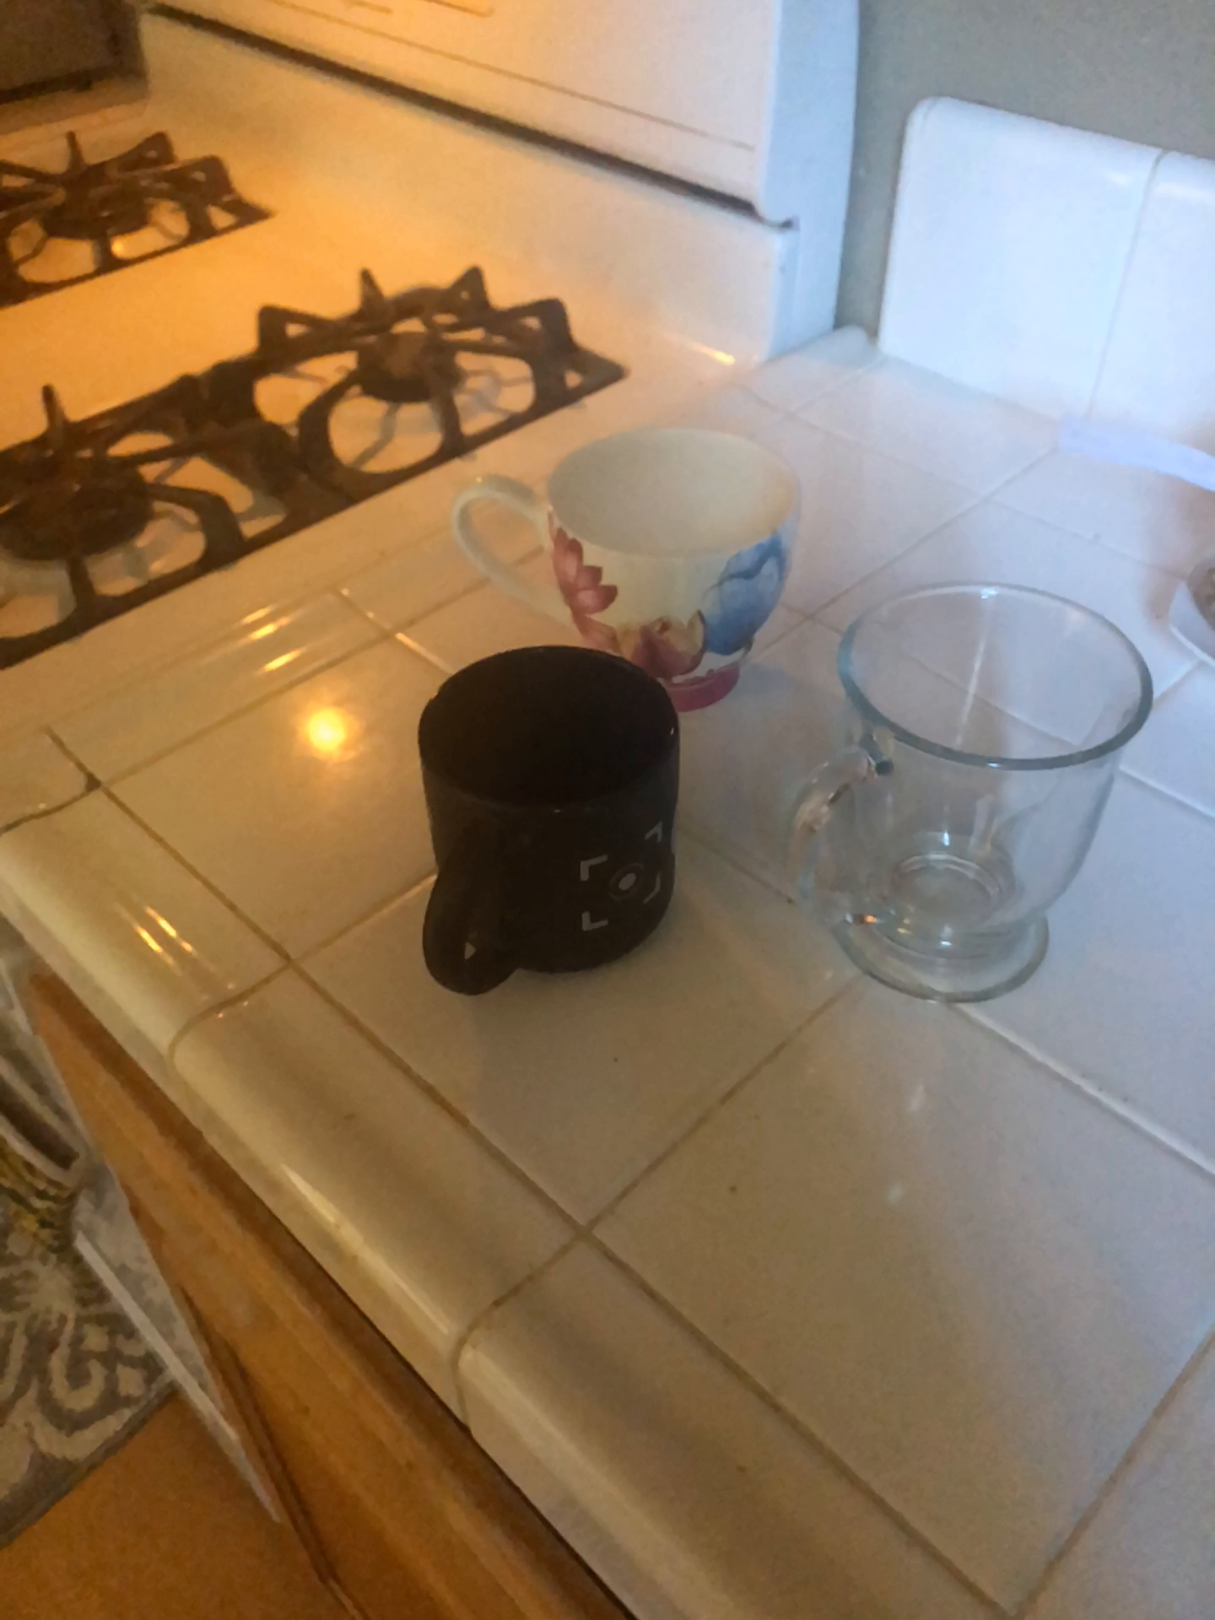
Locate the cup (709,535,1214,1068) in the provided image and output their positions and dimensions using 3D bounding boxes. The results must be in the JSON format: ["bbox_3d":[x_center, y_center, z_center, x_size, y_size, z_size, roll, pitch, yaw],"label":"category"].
[{"bbox_3d":[0.112,-0.005,0.458,0.120,0.119,0.101,-15,46,-14],"label":"cup"}]

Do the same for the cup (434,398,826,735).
[{"bbox_3d":[0.013,-0.110,0.589,0.140,0.079,0.111,11,45,12],"label":"cup"}]

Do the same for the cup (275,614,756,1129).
[{"bbox_3d":[-0.026,0.016,0.473,0.100,0.089,0.131,25,50,24],"label":"cup"}]
